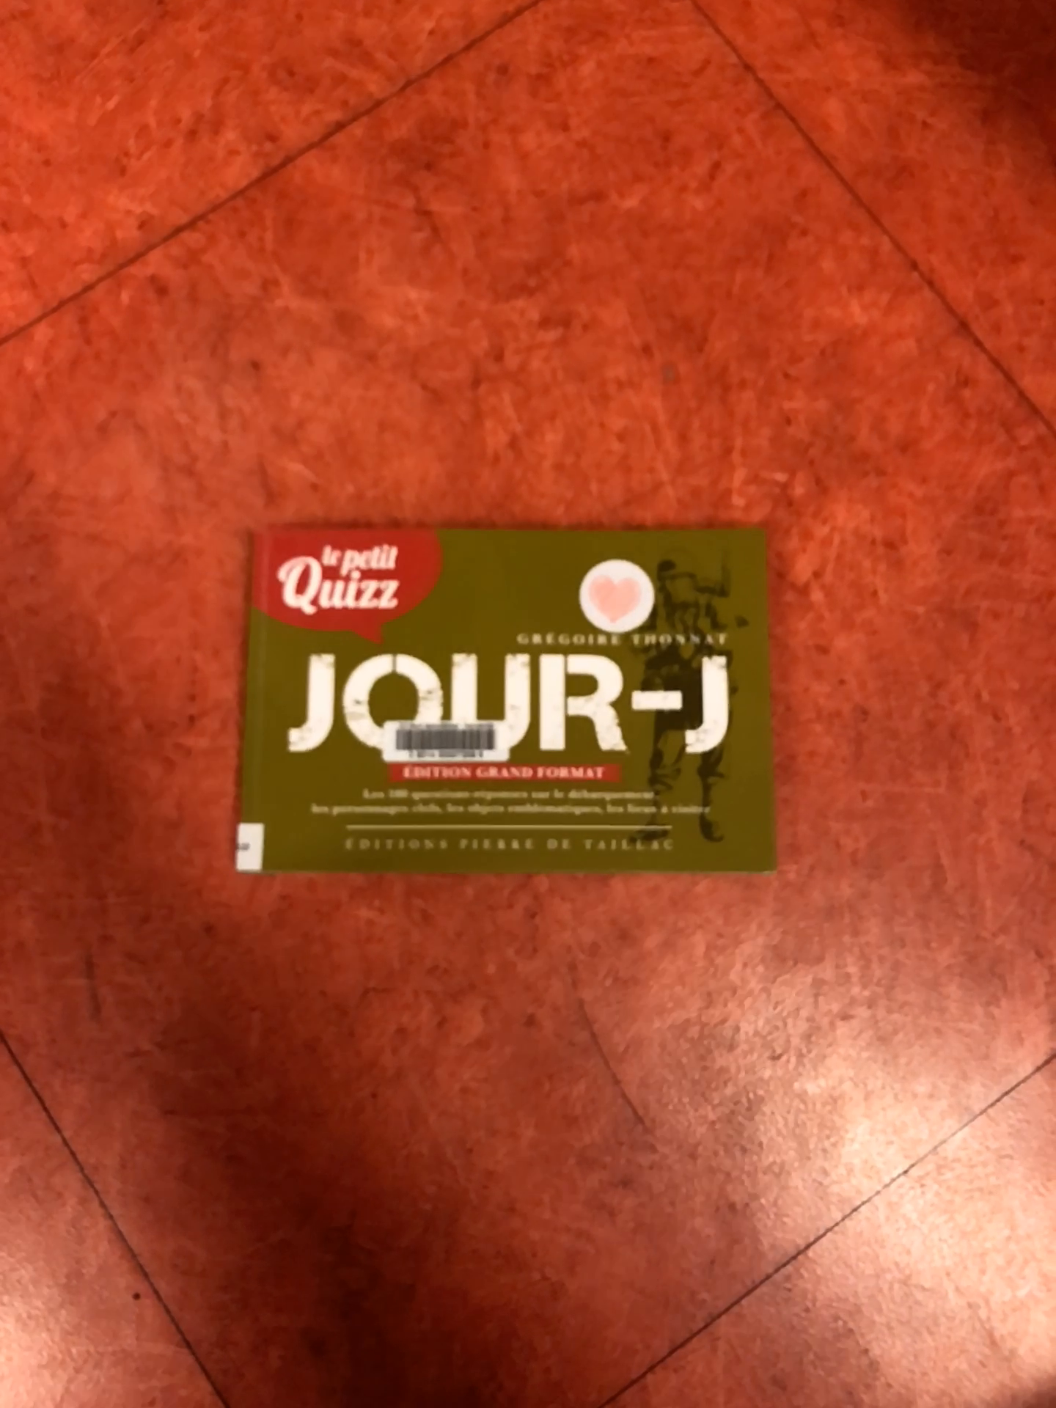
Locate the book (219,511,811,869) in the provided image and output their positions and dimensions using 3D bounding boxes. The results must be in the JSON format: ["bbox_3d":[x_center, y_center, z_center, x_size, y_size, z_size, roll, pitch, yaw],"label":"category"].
[{"bbox_3d":[-0.004,-0.006,0.453,0.218,0.016,0.137,0,79,-1],"label":"book"}]
